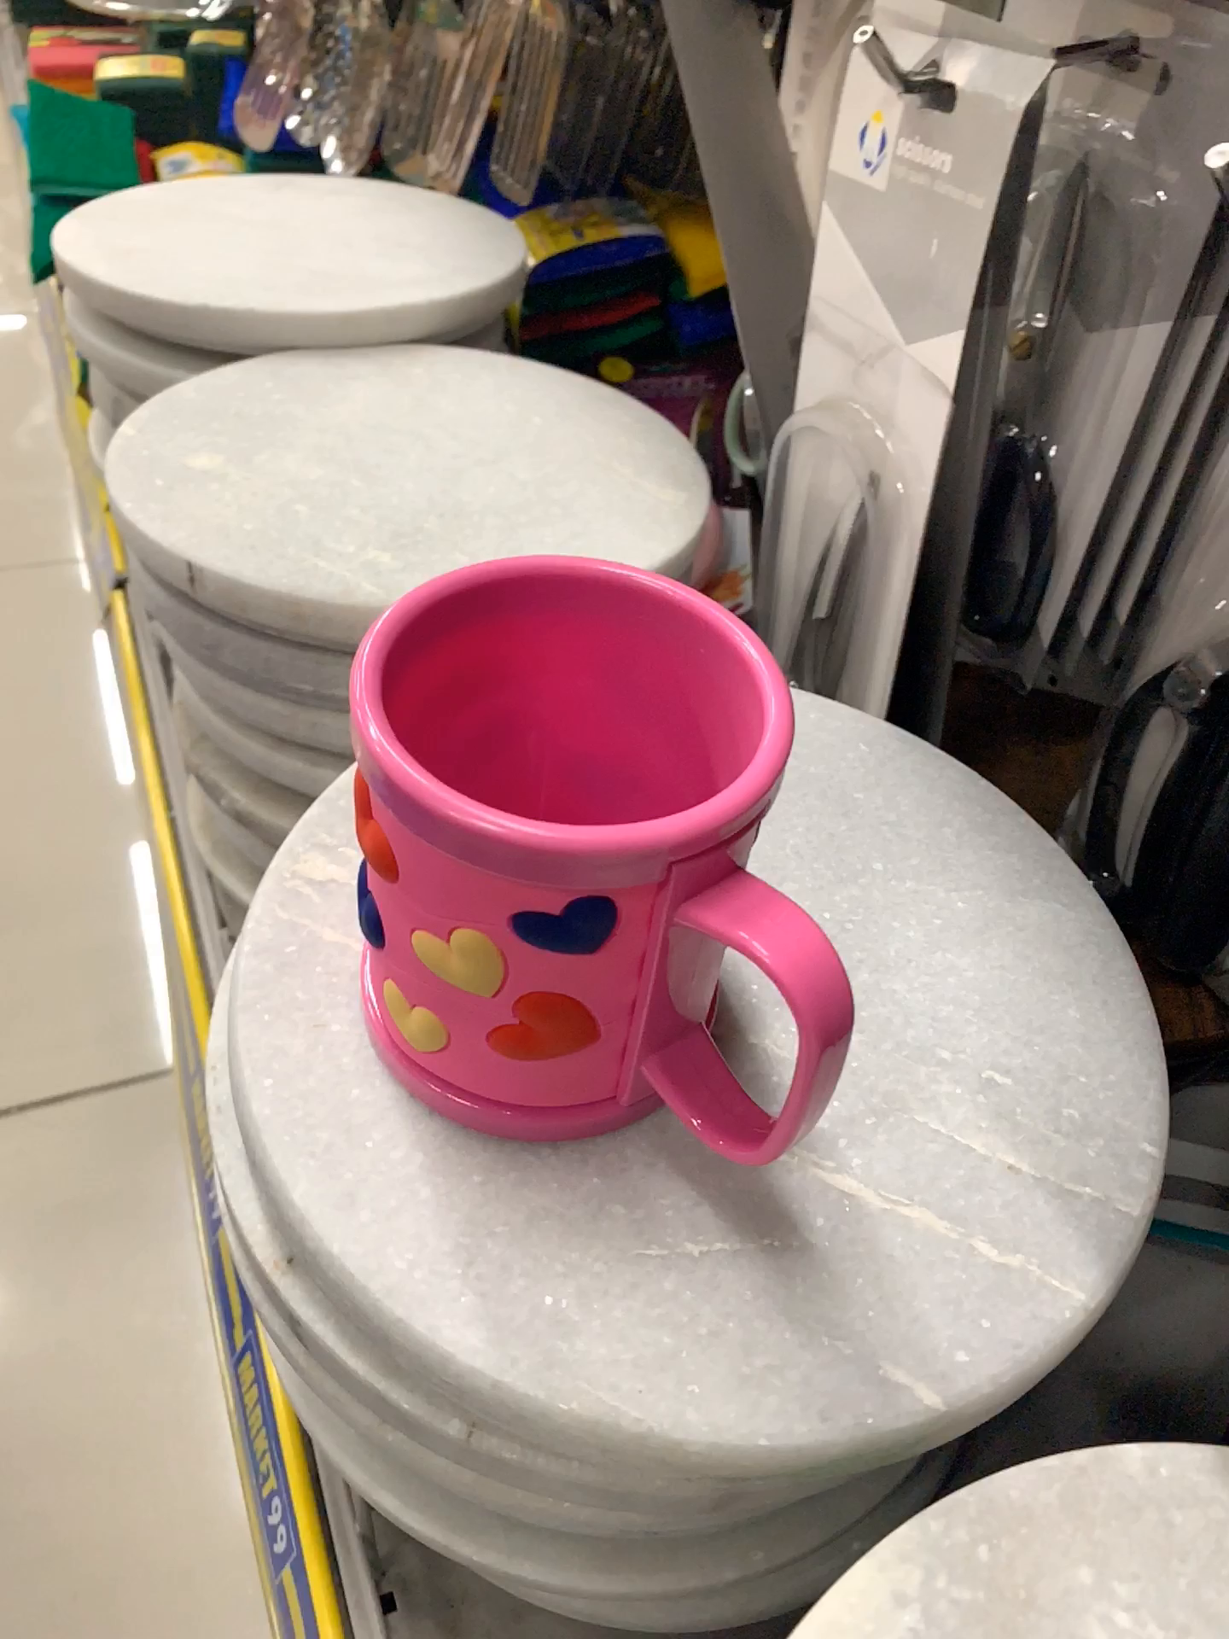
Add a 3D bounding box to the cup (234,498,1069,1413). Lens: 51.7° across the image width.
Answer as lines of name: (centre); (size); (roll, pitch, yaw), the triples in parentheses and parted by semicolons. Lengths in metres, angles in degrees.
cup: (-0.002, 0.019, 0.243); (0.080, 0.100, 0.120); (-26, 51, -31)
